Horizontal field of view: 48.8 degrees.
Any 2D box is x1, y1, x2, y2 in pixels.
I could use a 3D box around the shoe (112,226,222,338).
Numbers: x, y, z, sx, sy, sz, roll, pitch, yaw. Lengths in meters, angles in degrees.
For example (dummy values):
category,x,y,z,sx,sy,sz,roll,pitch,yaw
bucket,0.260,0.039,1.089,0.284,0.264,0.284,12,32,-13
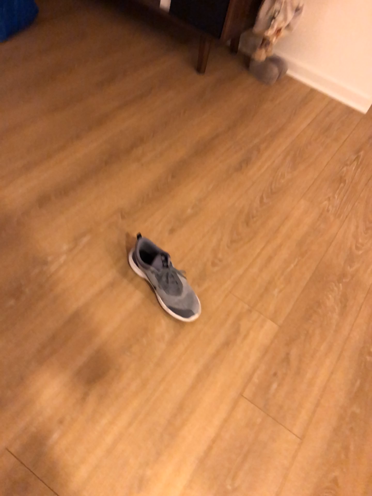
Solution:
category,x,y,z,sx,sy,sz,roll,pitch,yaw
shoe,-0.063,0.092,1.217,0.141,0.080,0.320,-32,65,-33
